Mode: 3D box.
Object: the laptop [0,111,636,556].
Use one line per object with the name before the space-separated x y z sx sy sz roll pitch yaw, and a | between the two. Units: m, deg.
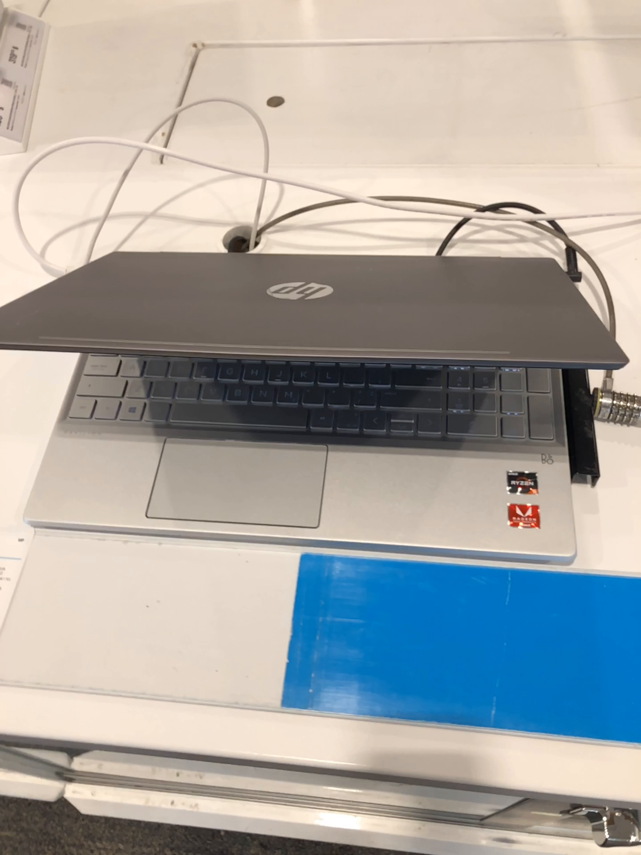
laptop | -0.018 -0.066 0.447 0.350 0.134 0.231 3 59 8
